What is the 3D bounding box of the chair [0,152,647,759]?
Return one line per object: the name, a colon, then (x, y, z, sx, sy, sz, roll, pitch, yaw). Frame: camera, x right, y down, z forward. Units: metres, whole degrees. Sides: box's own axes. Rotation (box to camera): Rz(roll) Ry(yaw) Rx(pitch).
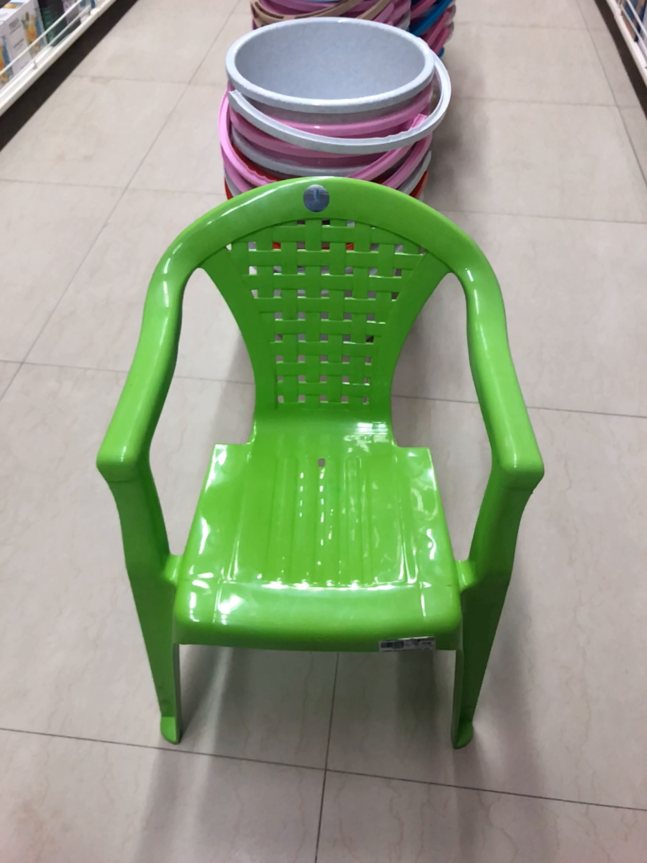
chair: (0.000, 0.058, 0.688, 0.360, 0.517, 0.312, 2, 48, 1)
